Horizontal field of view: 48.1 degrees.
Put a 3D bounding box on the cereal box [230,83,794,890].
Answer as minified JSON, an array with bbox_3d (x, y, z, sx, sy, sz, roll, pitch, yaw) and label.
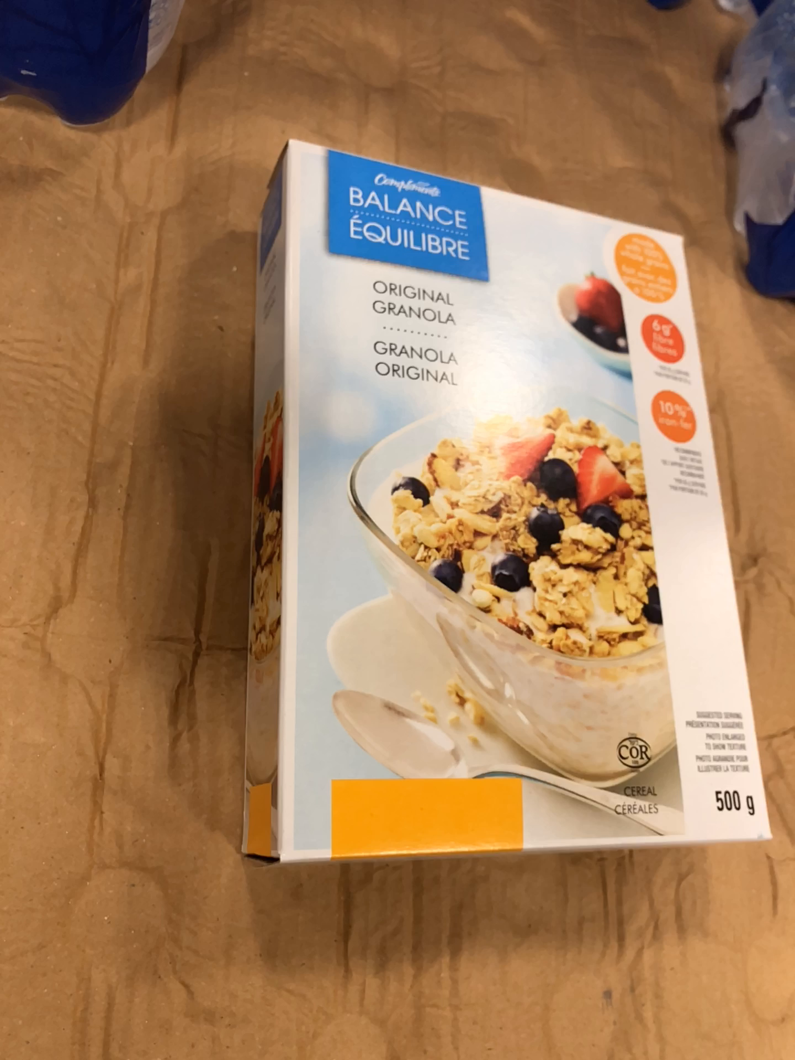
[{"bbox_3d":[0.039,-0.015,0.313,0.181,0.050,0.250,6,70,-22],"label":"cereal box"}]
